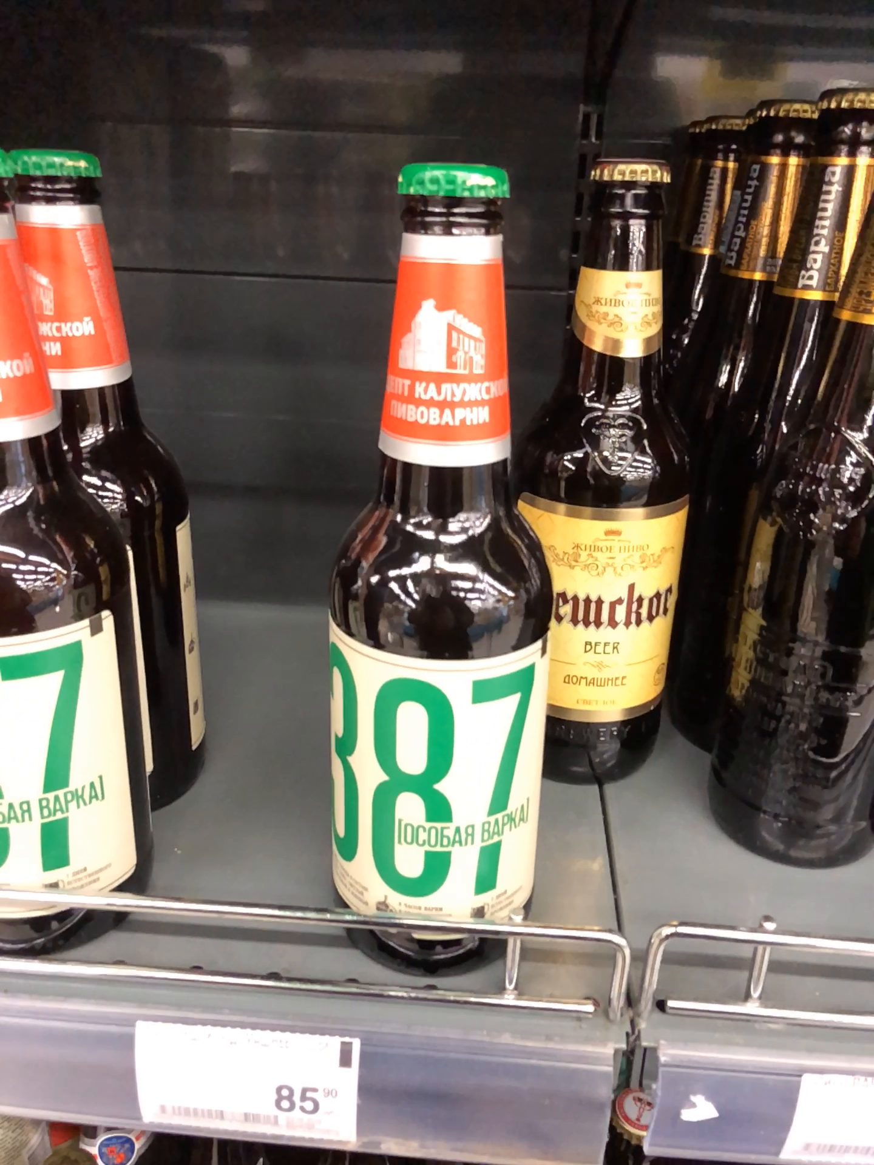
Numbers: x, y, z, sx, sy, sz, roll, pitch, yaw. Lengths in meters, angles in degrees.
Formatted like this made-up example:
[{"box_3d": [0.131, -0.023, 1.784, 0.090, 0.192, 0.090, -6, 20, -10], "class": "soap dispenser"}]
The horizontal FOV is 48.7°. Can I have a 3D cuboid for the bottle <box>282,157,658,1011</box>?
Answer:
[{"box_3d": [0.009, 0.003, 0.281, 0.080, 0.229, 0.070, 7, 23, 12], "class": "bottle"}]
